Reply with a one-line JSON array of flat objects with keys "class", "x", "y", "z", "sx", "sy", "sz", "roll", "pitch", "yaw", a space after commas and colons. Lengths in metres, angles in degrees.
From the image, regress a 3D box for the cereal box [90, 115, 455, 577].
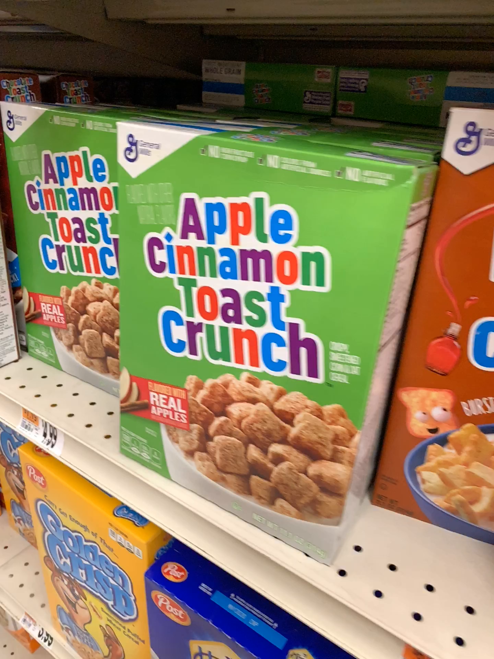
[{"class": "cereal box", "x": -0.003, "y": 0.007, "z": 0.355, "sx": 0.210, "sy": 0.269, "sz": 0.060, "roll": 19, "pitch": 30, "yaw": 26}]
